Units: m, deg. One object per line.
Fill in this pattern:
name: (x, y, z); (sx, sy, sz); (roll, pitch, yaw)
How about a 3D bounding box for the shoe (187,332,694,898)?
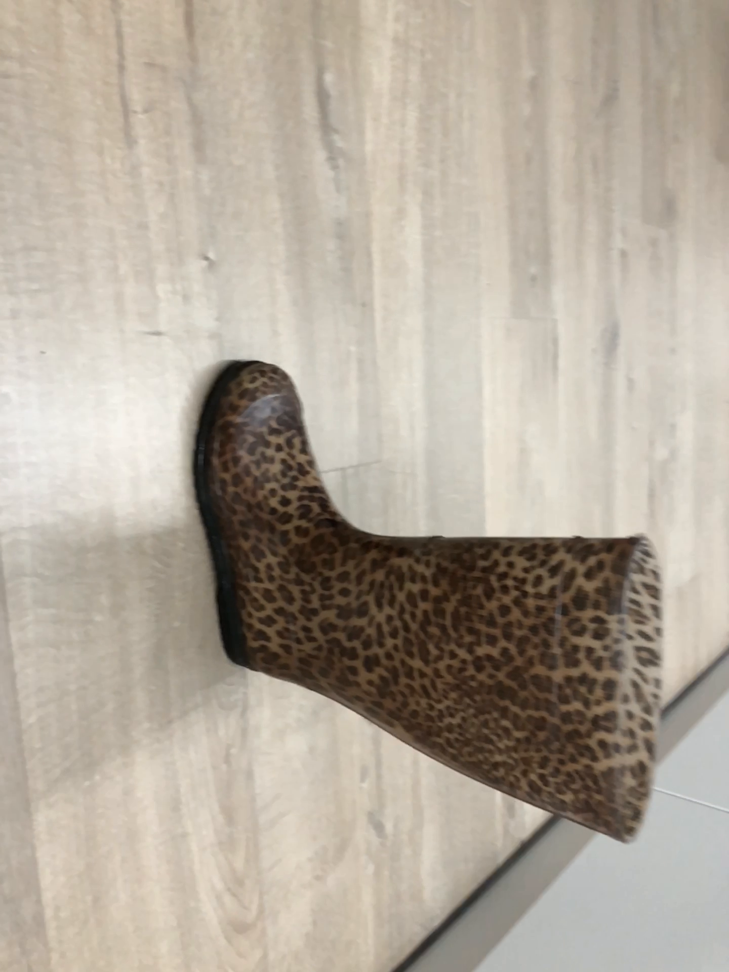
shoe: (0.025, 0.054, 0.531); (0.091, 0.338, 0.280); (-5, 97, -50)
